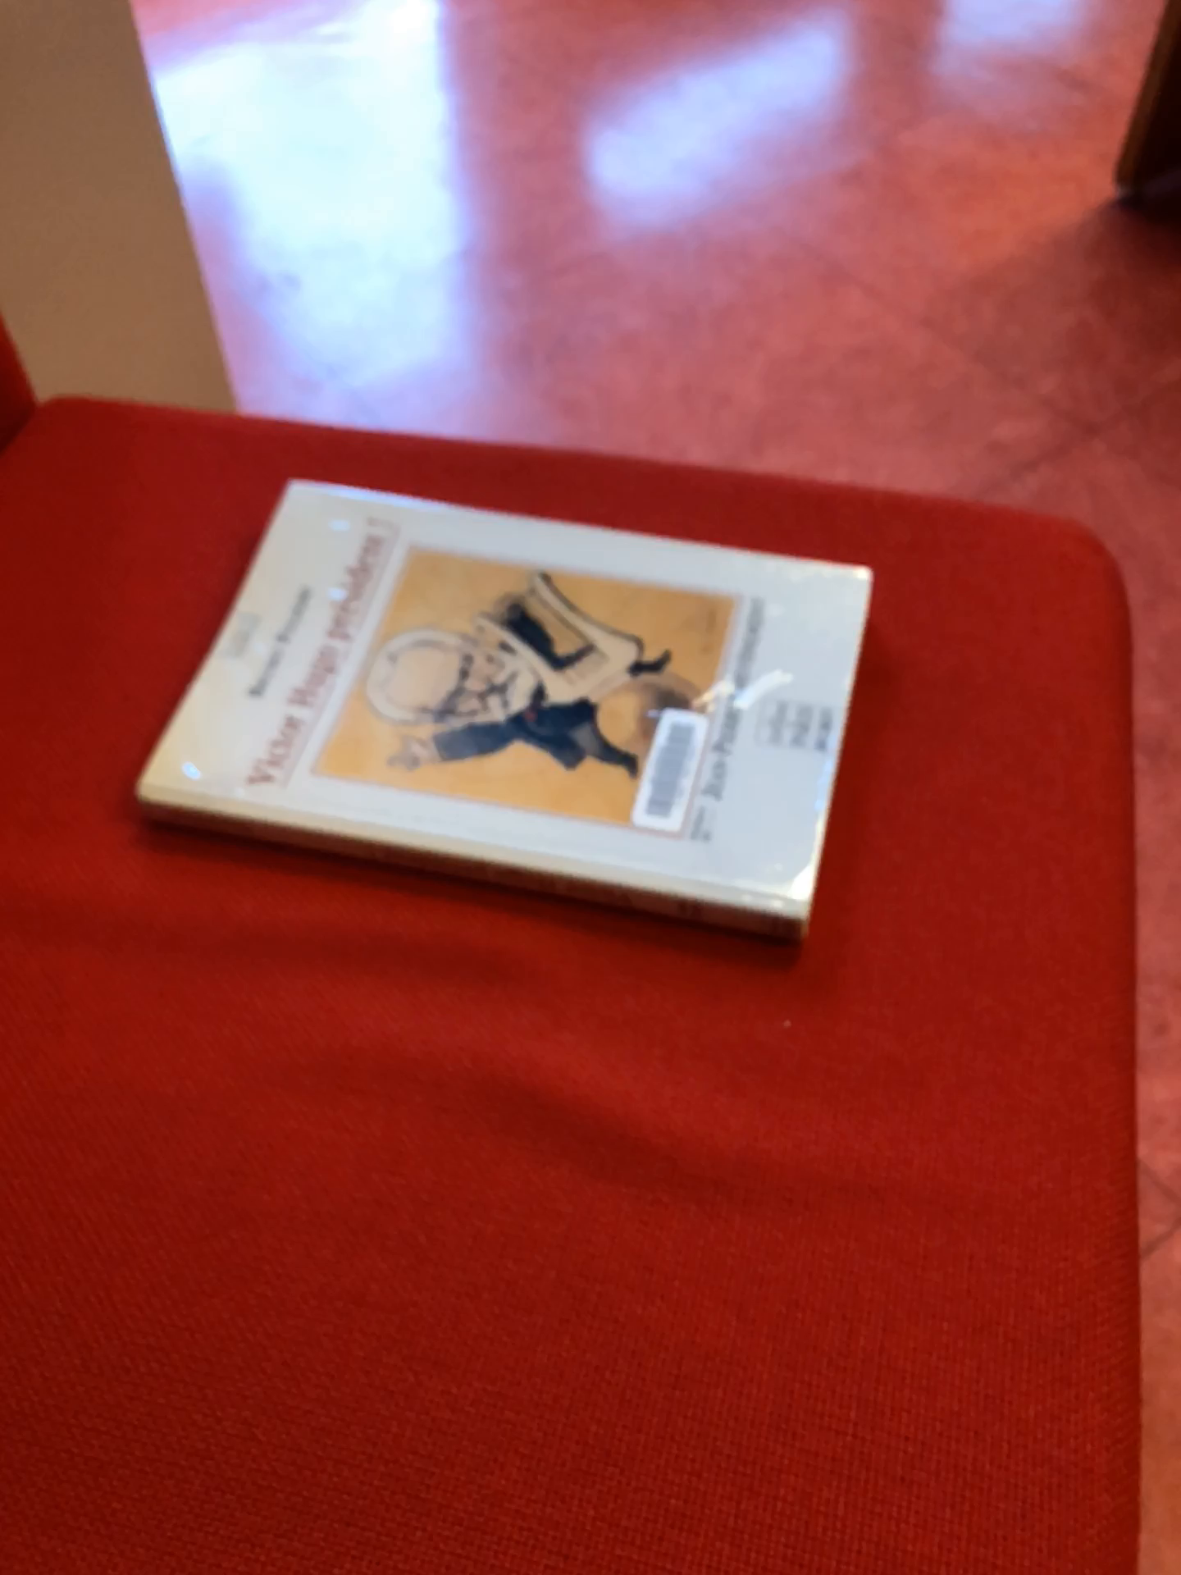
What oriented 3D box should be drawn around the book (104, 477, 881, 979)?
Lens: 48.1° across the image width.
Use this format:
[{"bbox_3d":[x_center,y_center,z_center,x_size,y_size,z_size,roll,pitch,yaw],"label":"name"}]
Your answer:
[{"bbox_3d":[-0.026,-0.030,0.473,0.236,0.040,0.152,10,53,8],"label":"book"}]
